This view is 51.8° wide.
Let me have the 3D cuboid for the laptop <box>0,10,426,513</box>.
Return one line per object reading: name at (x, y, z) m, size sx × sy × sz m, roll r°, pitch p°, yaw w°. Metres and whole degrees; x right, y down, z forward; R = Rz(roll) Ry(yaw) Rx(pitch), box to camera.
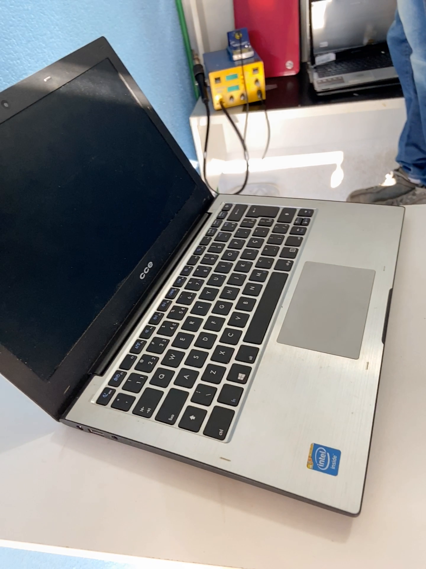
laptop at (-0.016, -0.061, 0.350) m, size 0.303 × 0.181 × 0.314 m, roll 8°, pitch 44°, yaw 23°
